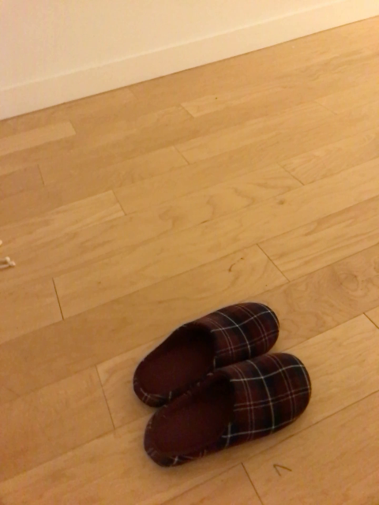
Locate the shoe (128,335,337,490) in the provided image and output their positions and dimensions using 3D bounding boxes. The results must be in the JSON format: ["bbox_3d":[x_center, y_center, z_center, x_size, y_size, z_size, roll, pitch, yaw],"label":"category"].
[{"bbox_3d":[0.058,0.222,0.593,0.270,0.030,0.121,-18,44,-10],"label":"shoe"}]

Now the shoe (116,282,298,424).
[{"bbox_3d":[0.029,0.153,0.668,0.271,0.030,0.121,-25,46,-16],"label":"shoe"}]
